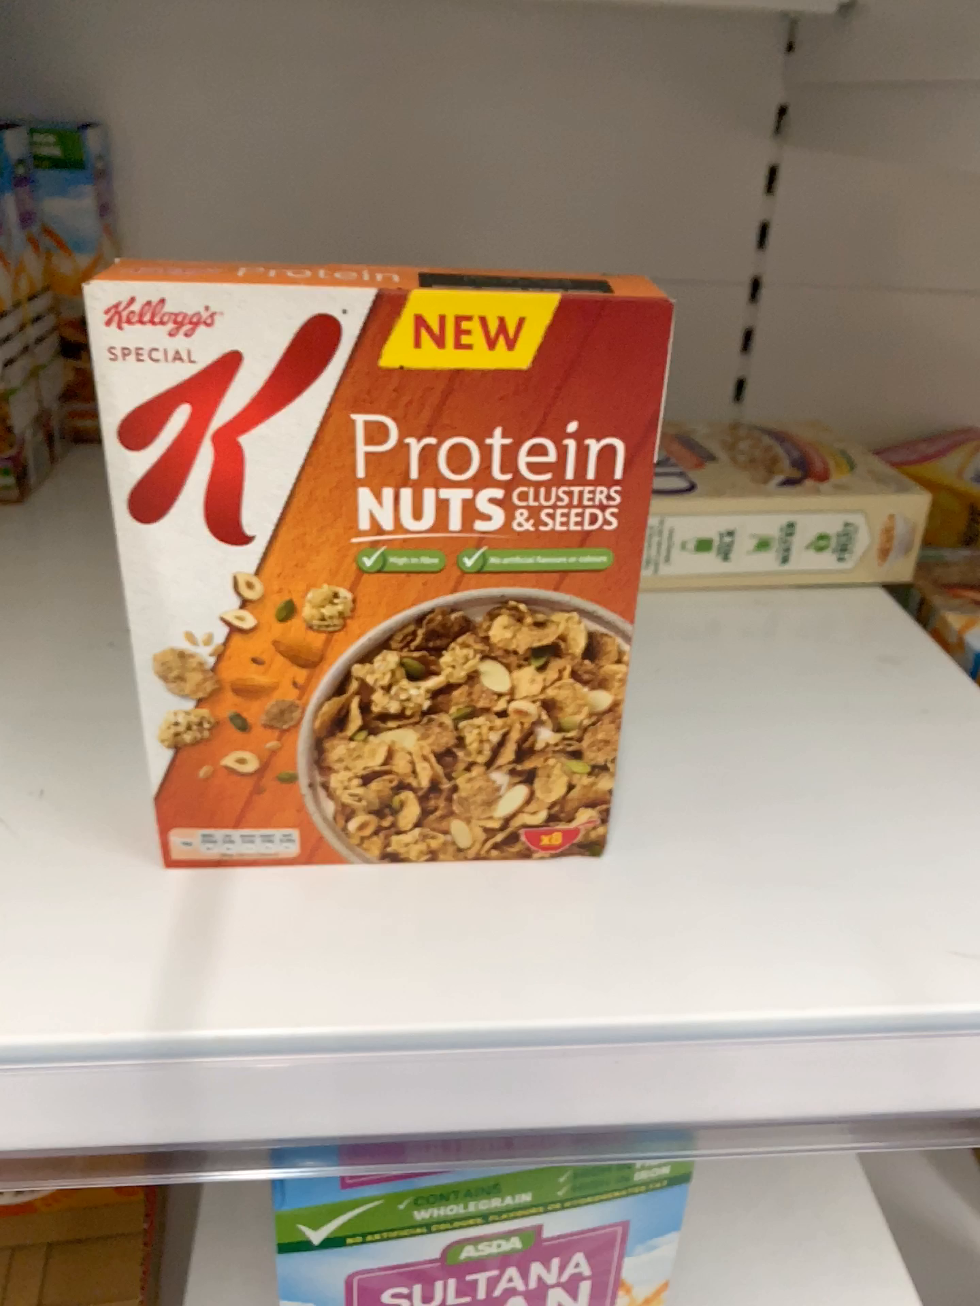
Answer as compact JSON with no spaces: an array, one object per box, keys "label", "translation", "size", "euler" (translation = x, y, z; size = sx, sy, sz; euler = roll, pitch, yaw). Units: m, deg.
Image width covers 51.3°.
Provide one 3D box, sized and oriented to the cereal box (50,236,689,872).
[{"label":"cereal box","translation":[-0.043,-0.031,0.408],"size":[0.200,0.238,0.071],"euler":[0,28,-5]}]
